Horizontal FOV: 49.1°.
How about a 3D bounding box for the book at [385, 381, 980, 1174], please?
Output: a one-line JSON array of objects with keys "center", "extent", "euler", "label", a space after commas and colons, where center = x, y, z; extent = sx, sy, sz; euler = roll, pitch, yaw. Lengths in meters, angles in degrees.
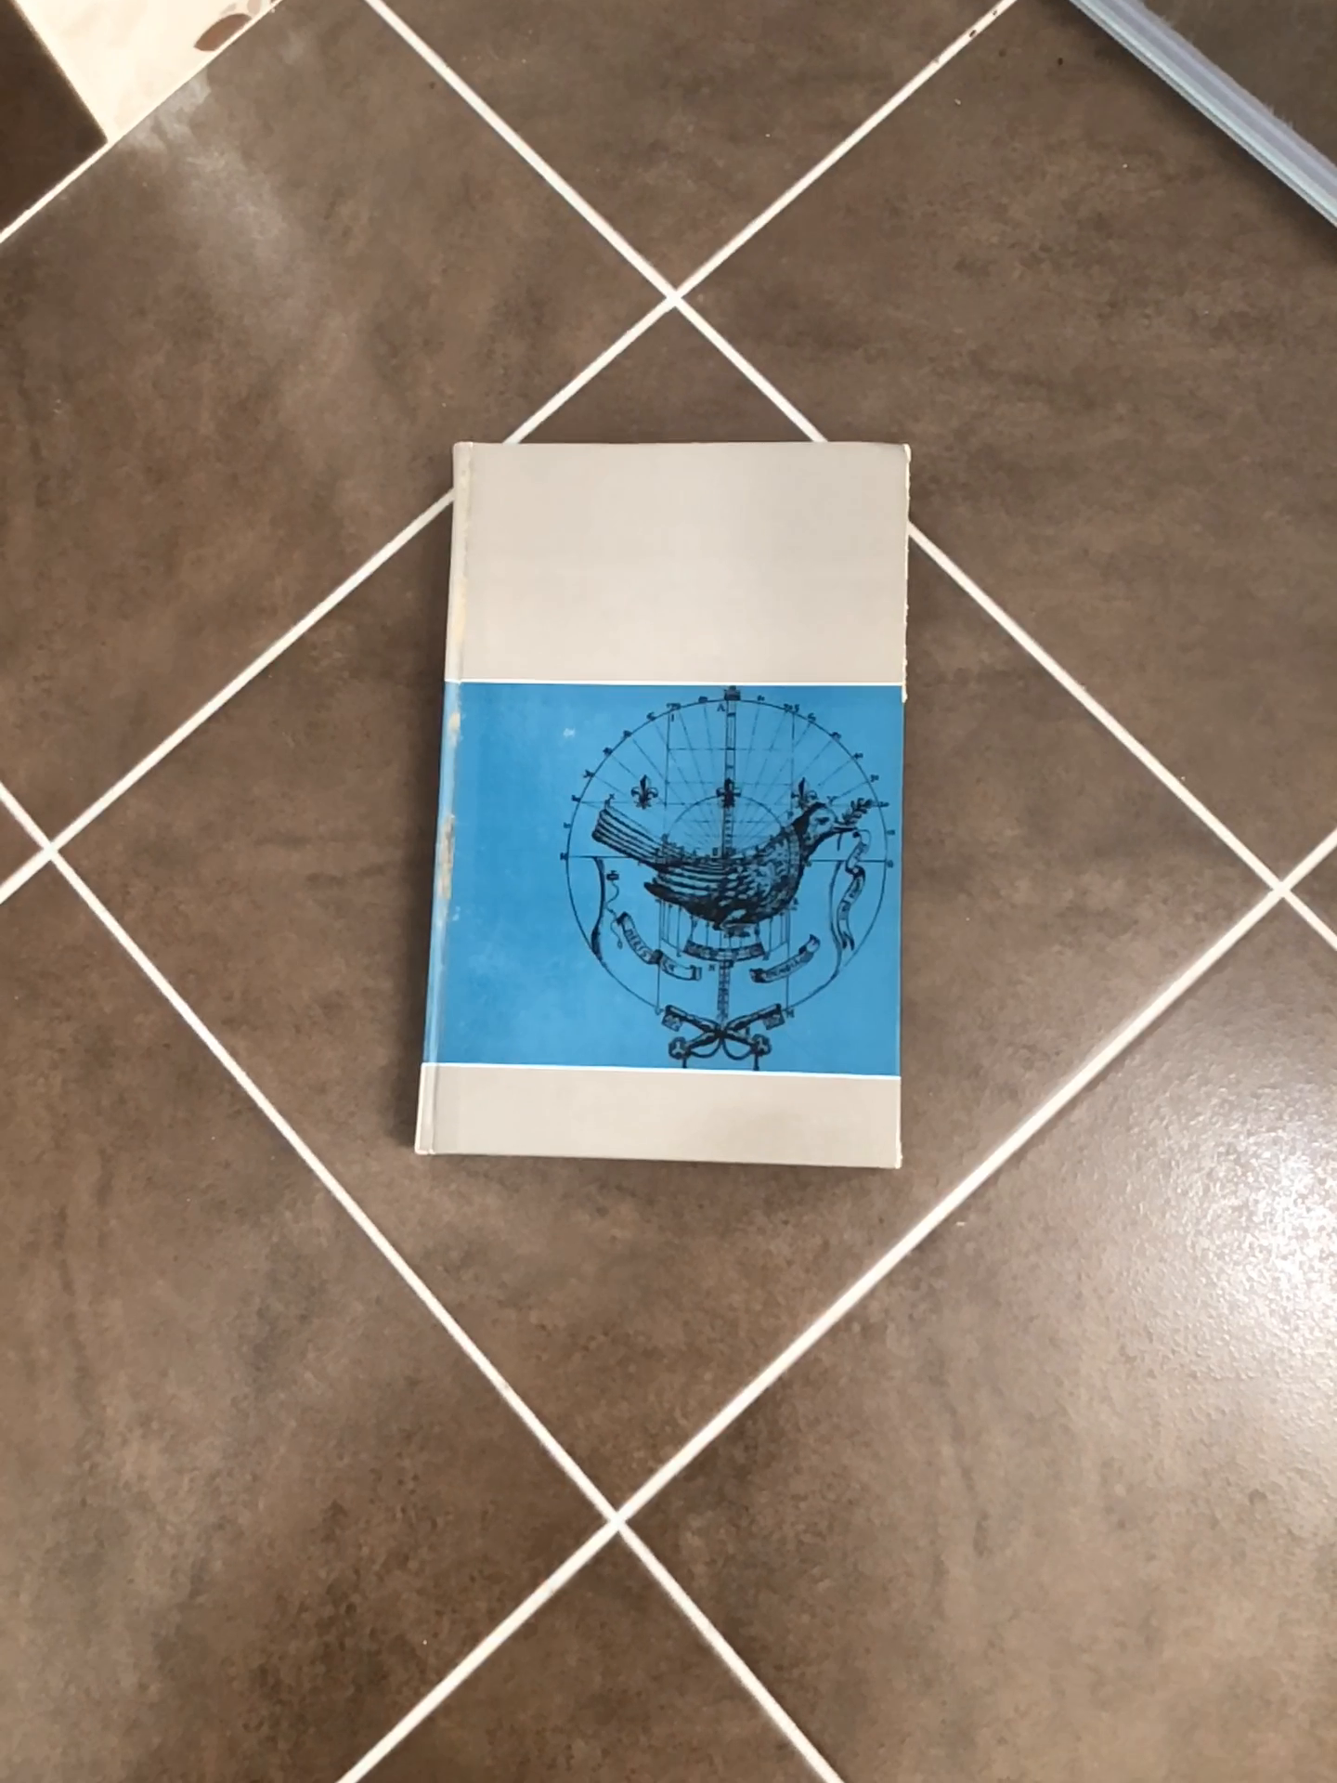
[{"center": [0.010, -0.049, 0.571], "extent": [0.210, 0.040, 0.300], "euler": [2, 81, 5], "label": "book"}]
